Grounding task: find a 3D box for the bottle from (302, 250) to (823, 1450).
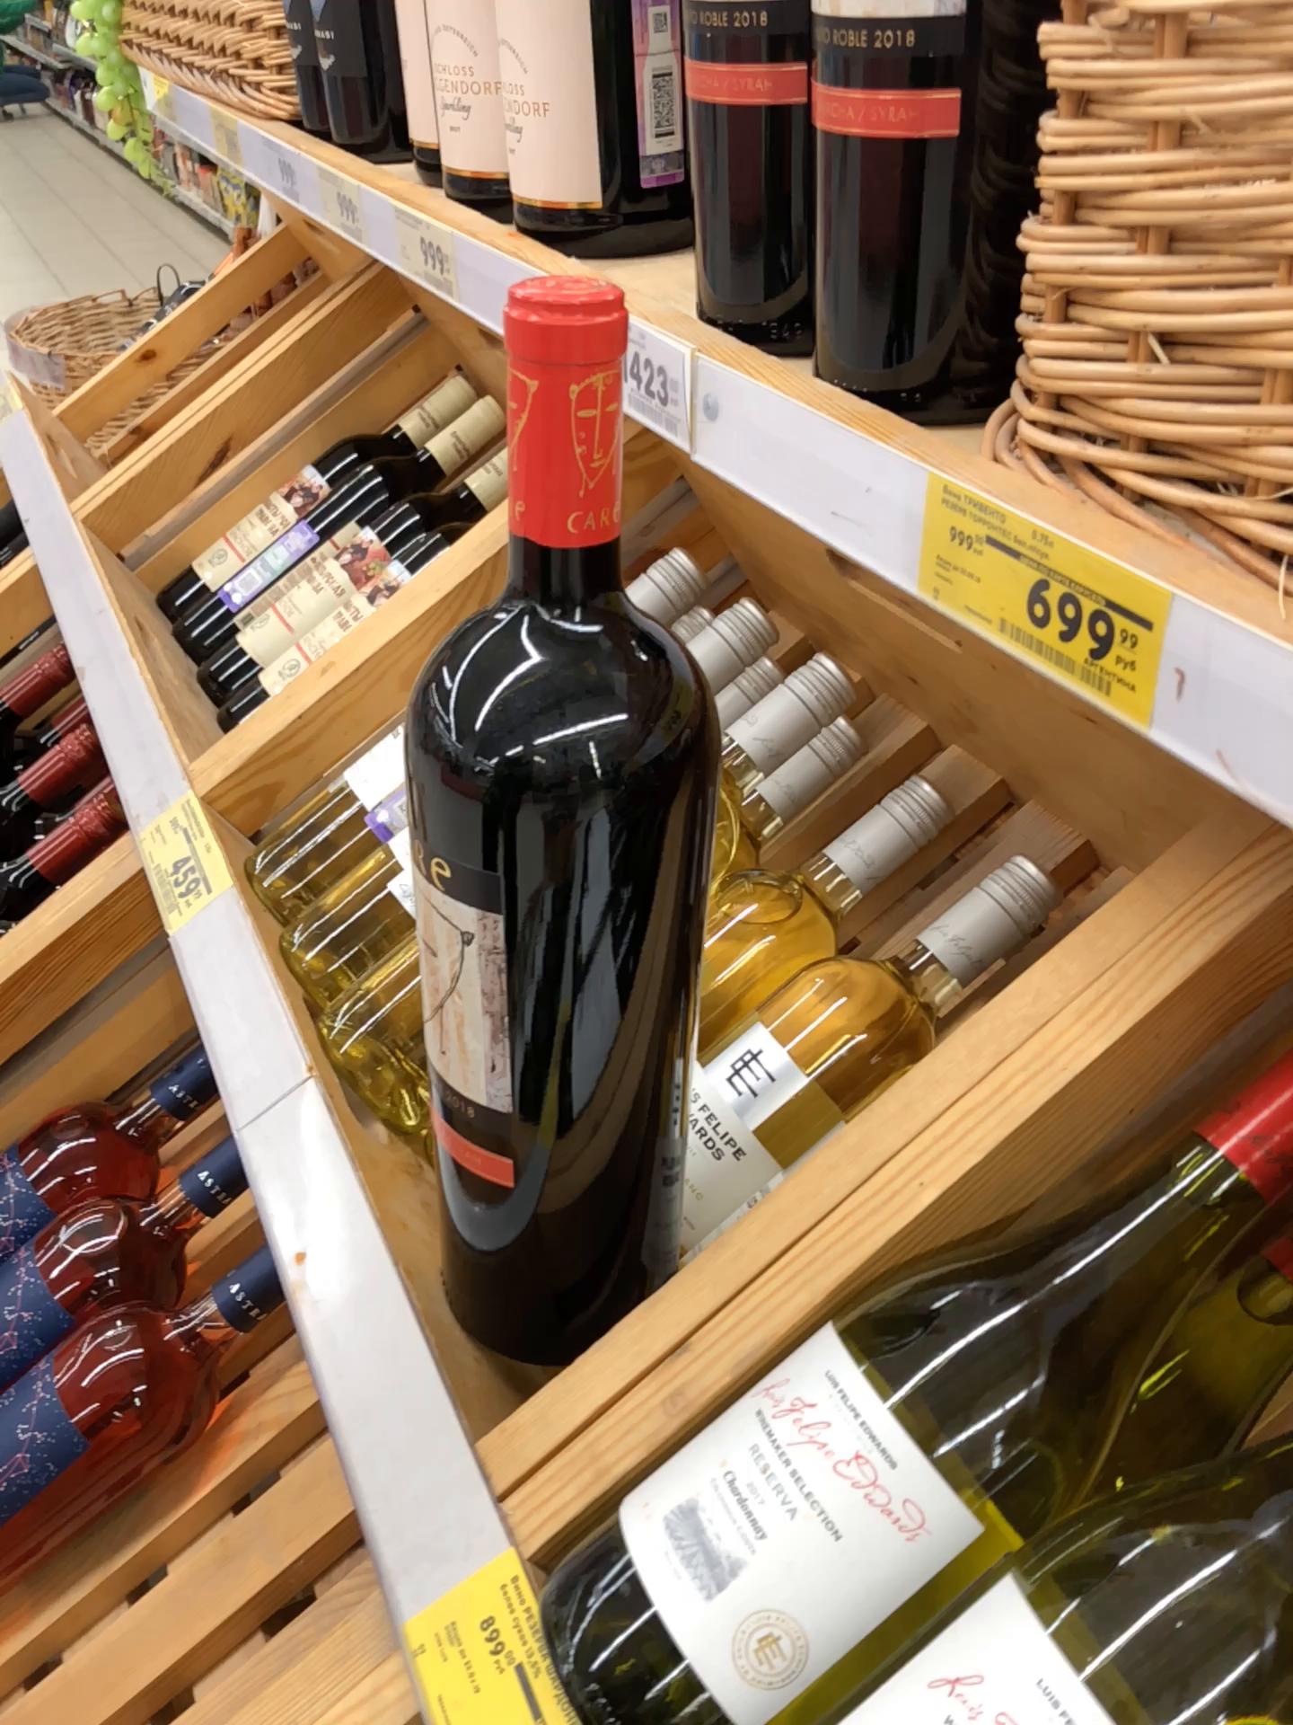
[{"bbox_3d":[-0.031,0.012,0.441,0.100,0.358,0.101,2,32,-1],"label":"bottle"}]
